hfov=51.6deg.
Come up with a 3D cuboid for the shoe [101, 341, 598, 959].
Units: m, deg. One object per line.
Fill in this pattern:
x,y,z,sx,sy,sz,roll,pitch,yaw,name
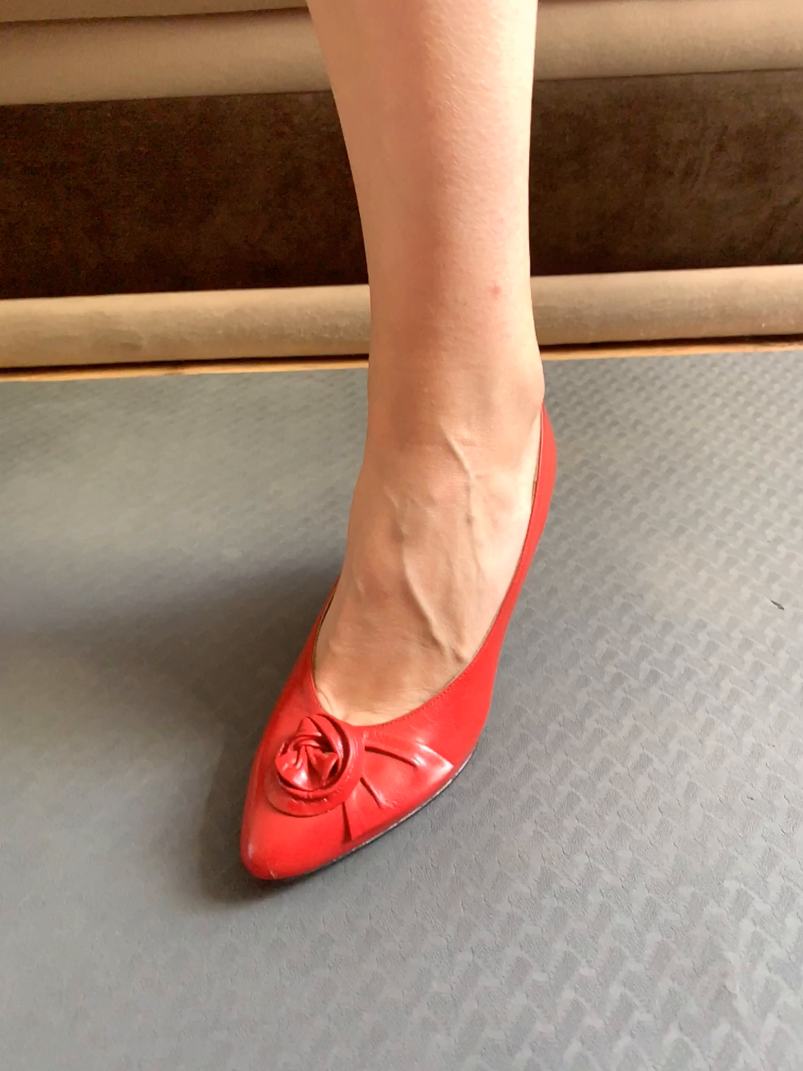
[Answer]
0.002,0.022,0.320,0.080,0.109,0.211,15,39,22,shoe
